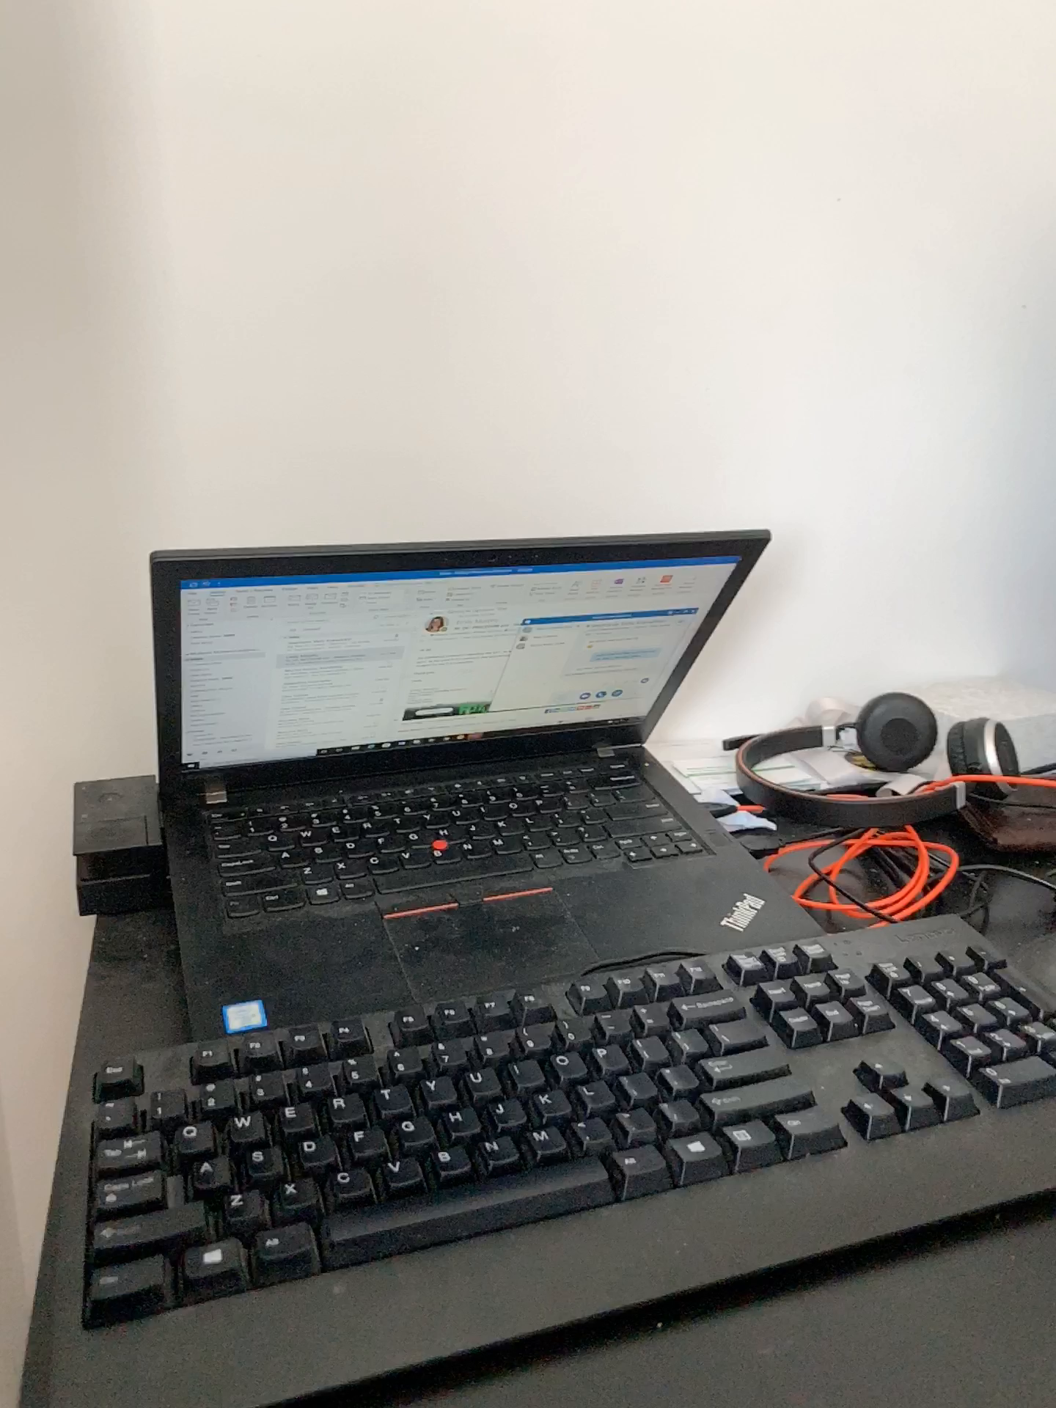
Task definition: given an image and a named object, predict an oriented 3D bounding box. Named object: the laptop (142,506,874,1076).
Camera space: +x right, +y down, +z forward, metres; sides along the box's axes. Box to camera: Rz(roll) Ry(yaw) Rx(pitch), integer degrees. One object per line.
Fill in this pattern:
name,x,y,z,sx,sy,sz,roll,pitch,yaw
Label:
laptop,-0.025,0.012,0.601,0.335,0.172,0.237,-6,23,-21
